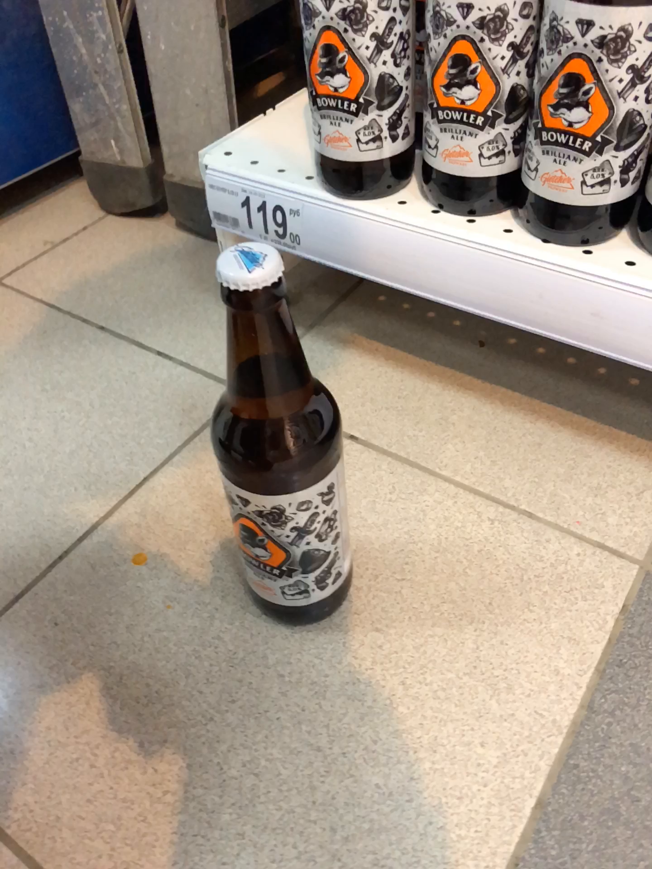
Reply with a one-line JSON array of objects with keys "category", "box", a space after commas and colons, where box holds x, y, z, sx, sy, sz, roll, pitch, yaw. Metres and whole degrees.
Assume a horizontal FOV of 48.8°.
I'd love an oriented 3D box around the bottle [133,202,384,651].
[{"category": "bottle", "box": [-0.021, 0.011, 0.382, 0.075, 0.239, 0.070, -3, 45, 3]}]
